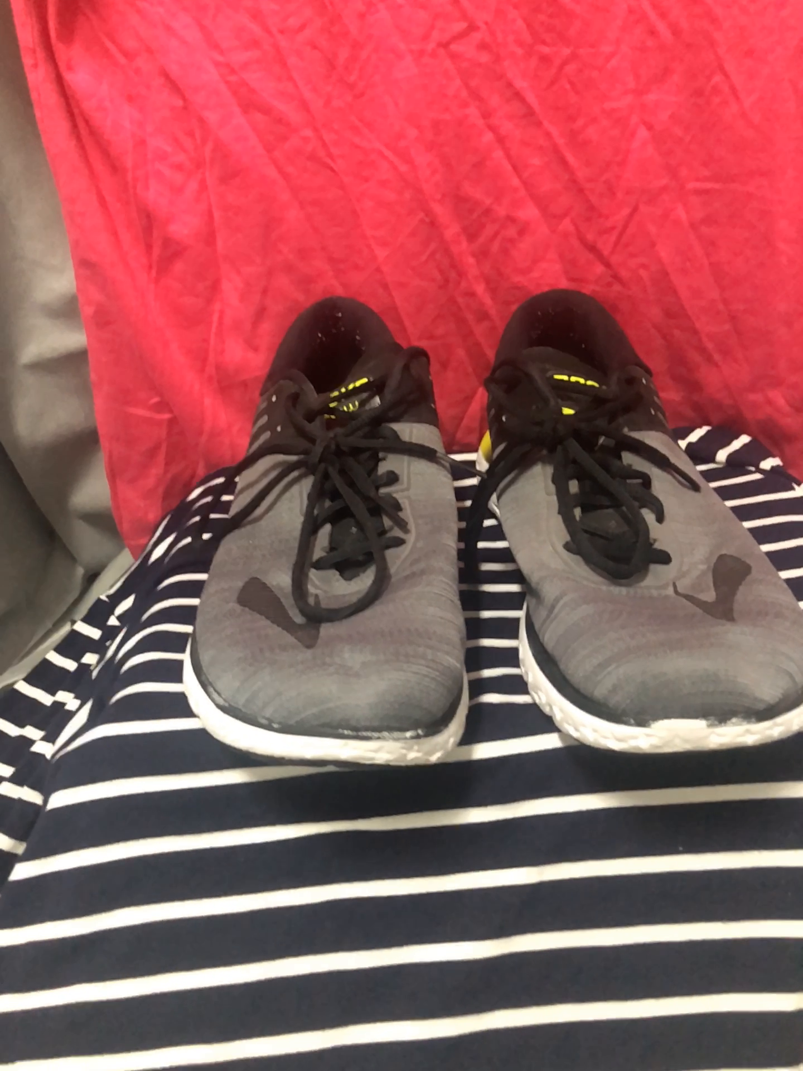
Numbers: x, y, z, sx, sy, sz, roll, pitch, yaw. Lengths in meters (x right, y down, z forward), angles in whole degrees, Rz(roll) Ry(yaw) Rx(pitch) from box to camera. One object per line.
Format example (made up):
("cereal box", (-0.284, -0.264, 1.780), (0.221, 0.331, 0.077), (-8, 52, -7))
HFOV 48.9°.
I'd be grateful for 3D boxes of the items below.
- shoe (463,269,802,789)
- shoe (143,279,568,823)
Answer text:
("shoe", (0.096, -0.034, 0.357), (0.104, 0.079, 0.282), (-5, 28, -2))
("shoe", (-0.022, -0.028, 0.359), (0.102, 0.079, 0.293), (-5, 28, -3))
